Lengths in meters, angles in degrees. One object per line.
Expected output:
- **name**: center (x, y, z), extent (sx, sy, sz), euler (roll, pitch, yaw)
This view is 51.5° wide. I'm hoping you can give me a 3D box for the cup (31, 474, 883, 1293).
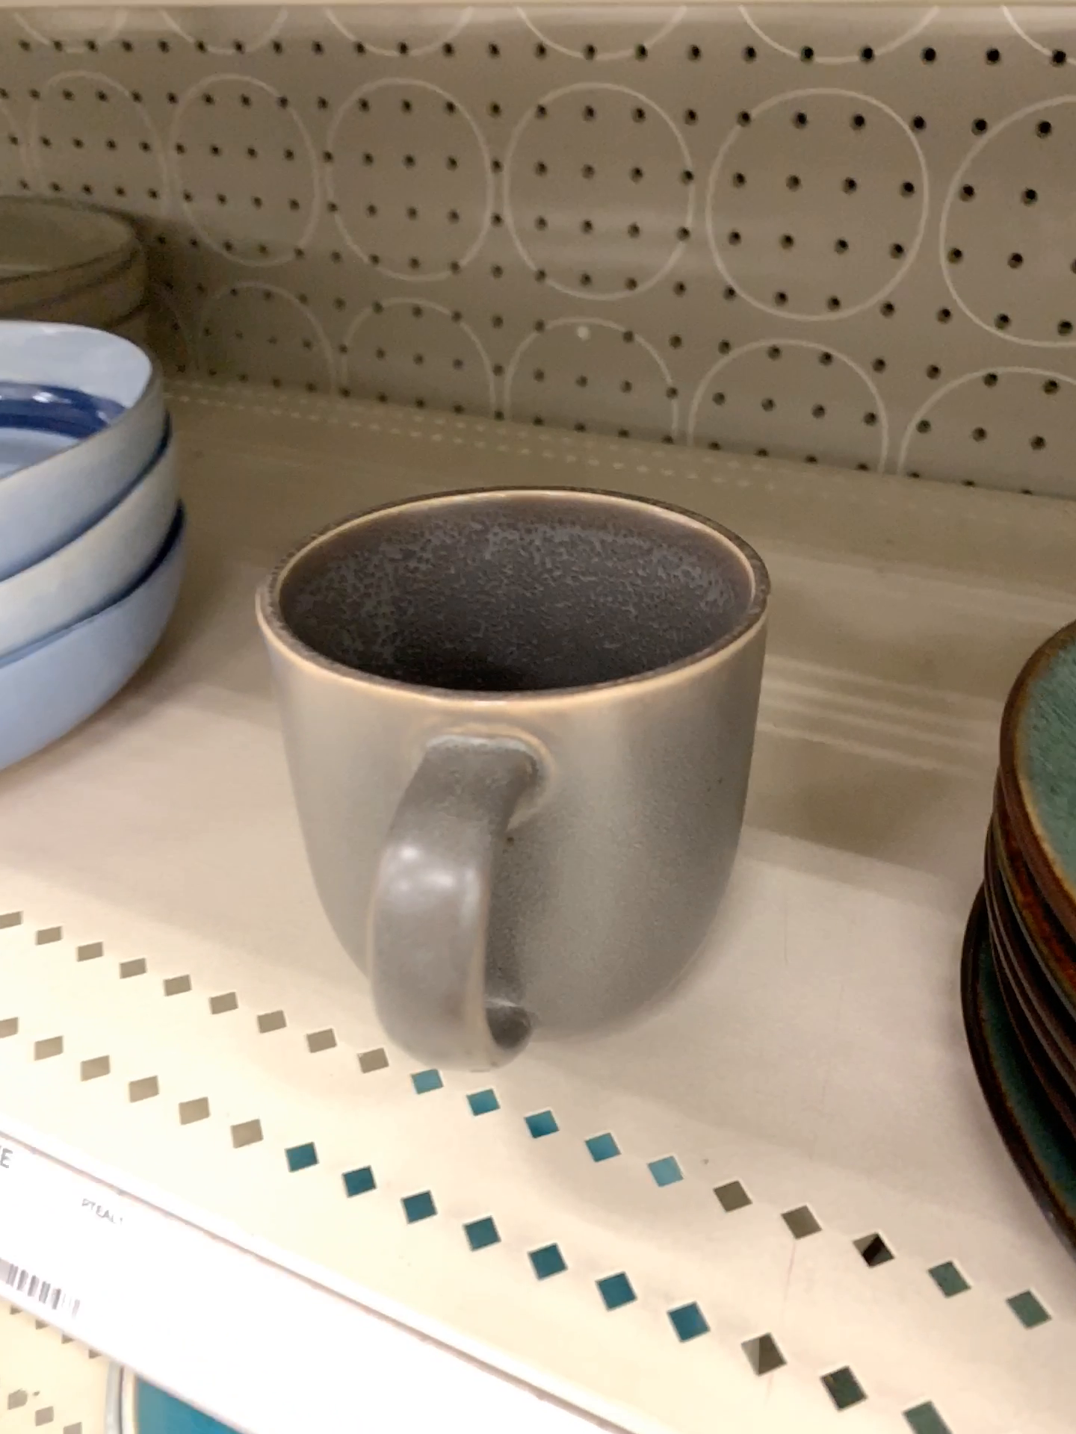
- **cup**: center (-0.006, 0.017, 0.206), extent (0.100, 0.080, 0.131), euler (2, 33, 3)
